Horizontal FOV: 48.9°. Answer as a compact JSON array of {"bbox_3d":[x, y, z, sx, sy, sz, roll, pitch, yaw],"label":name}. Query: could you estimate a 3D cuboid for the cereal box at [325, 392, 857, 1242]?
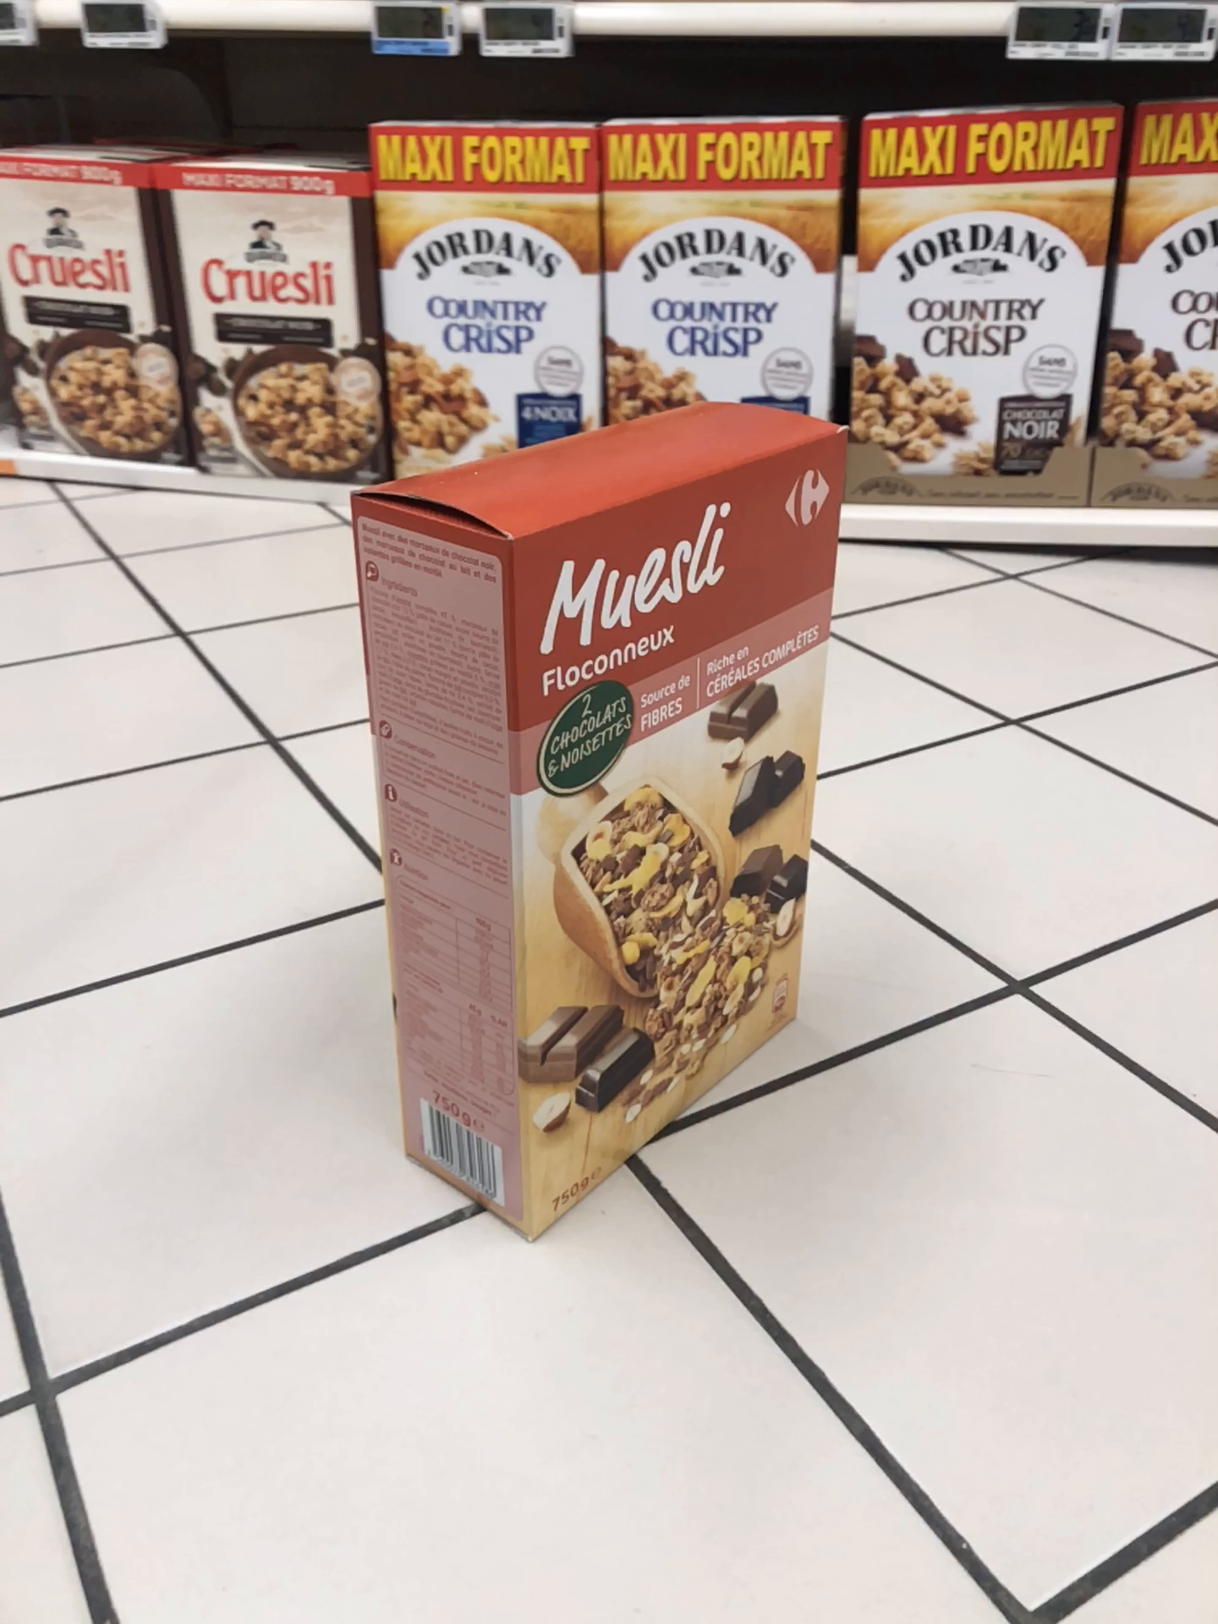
[{"bbox_3d":[0.001,-0.006,0.463,0.070,0.239,0.171,21,33,34],"label":"cereal box"}]
